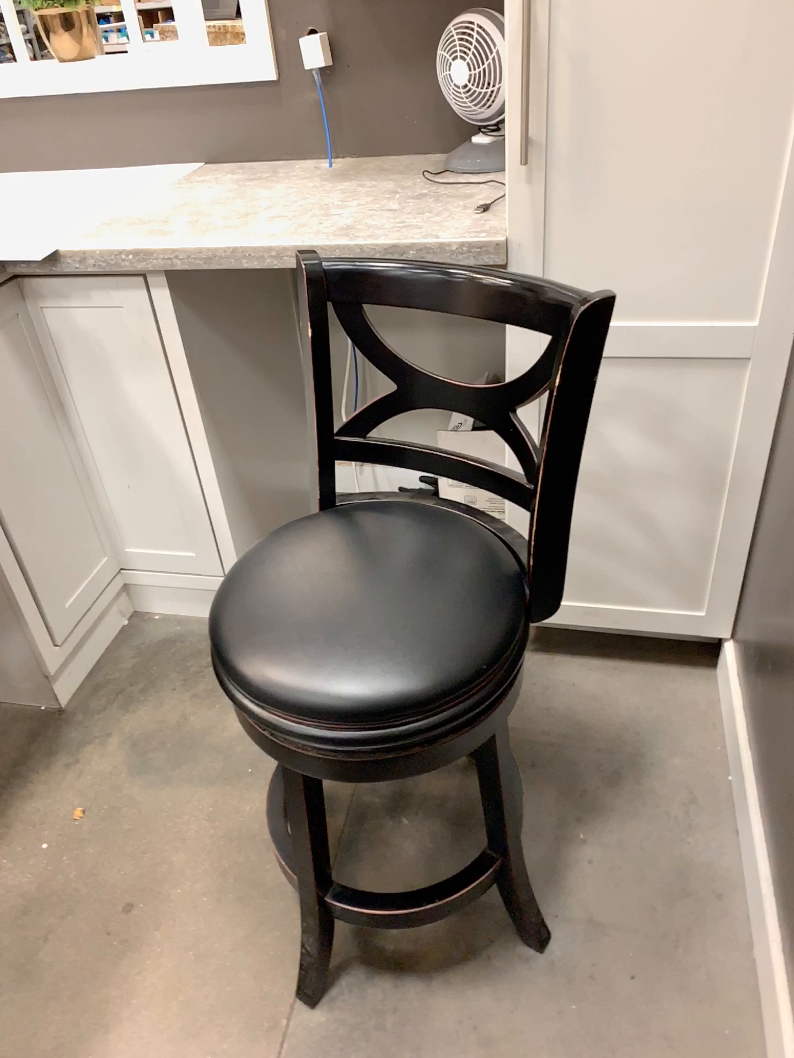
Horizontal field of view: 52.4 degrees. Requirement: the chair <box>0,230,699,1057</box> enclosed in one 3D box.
[{"bbox_3d":[-0.019,0.164,1.107,0.559,0.912,0.606,17,41,29],"label":"chair"}]
